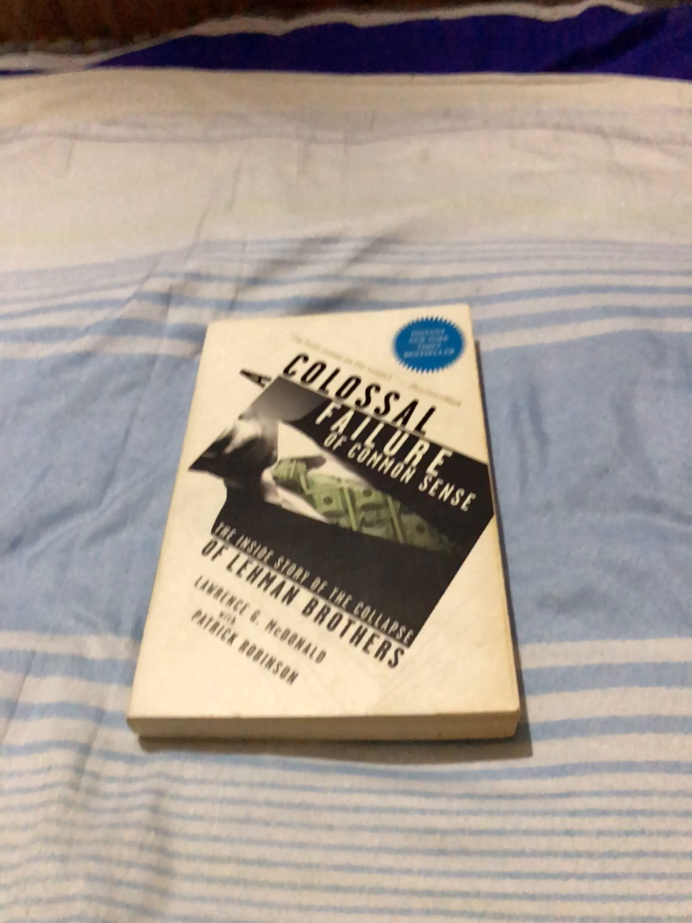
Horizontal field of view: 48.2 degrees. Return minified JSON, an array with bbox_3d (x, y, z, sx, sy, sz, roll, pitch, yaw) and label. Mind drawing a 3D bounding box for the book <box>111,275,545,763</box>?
[{"bbox_3d":[-0.004,0.009,0.333,0.140,0.040,0.221,-2,51,4],"label":"book"}]
